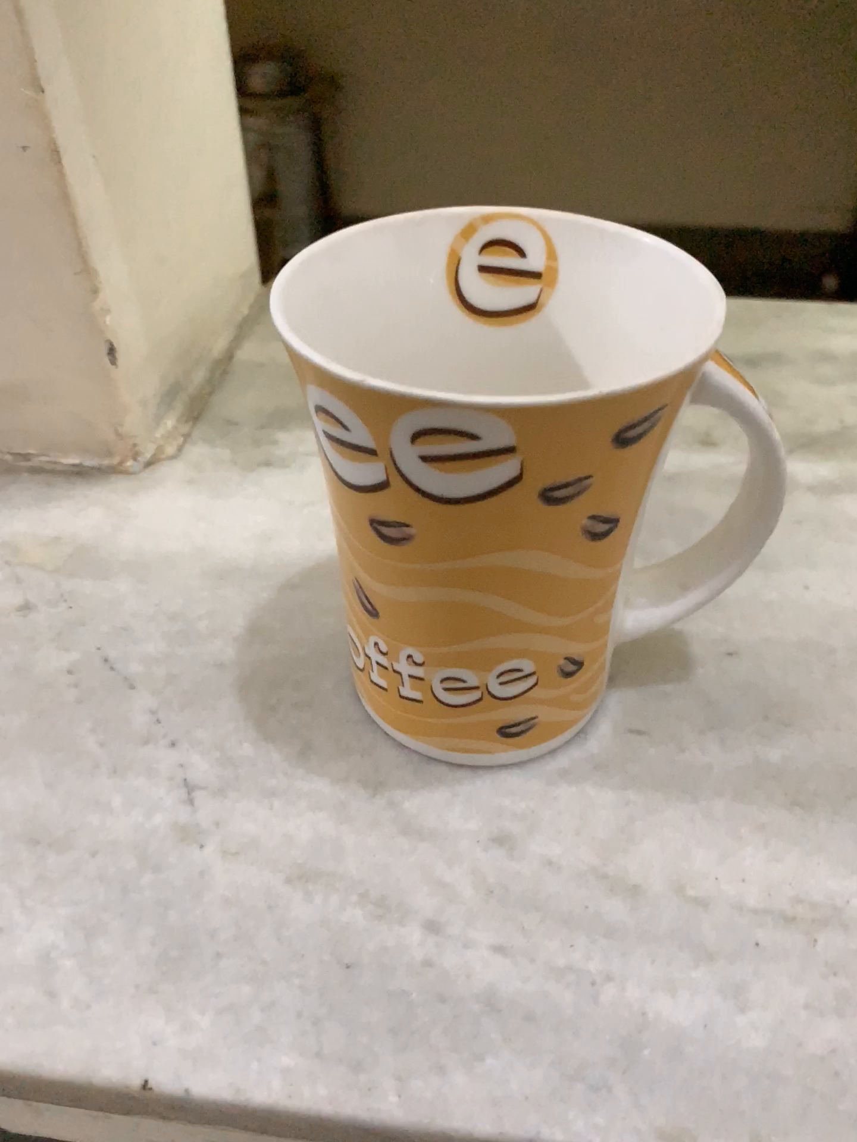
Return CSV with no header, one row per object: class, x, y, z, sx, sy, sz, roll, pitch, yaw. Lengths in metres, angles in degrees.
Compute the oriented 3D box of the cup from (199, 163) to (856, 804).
cup,0.018,-0.017,0.184,0.100,0.100,0.080,-2,40,-1
